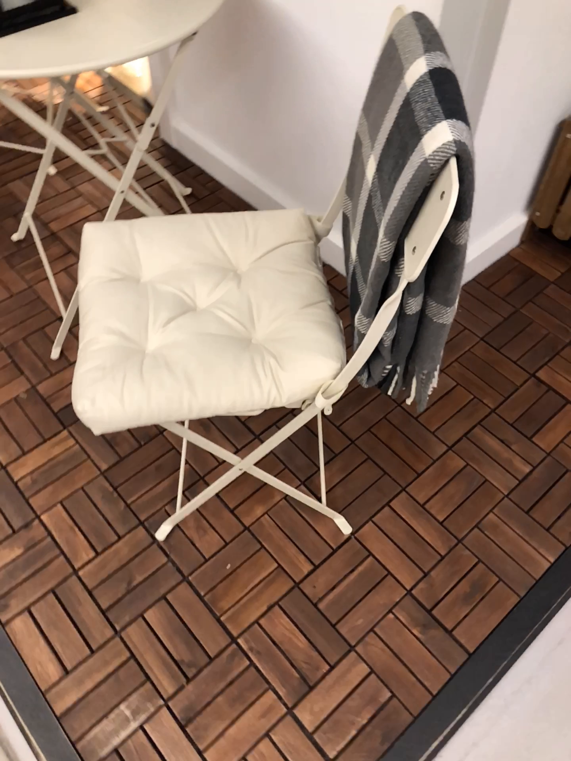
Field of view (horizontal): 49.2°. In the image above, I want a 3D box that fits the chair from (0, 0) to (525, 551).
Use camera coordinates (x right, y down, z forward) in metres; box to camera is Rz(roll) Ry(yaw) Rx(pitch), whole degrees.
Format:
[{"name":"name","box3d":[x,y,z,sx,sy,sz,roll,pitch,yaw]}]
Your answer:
[{"name":"chair","box3d":[-0.068,-0.124,0.940,0.510,0.736,0.493,-1,53,-1]}]
